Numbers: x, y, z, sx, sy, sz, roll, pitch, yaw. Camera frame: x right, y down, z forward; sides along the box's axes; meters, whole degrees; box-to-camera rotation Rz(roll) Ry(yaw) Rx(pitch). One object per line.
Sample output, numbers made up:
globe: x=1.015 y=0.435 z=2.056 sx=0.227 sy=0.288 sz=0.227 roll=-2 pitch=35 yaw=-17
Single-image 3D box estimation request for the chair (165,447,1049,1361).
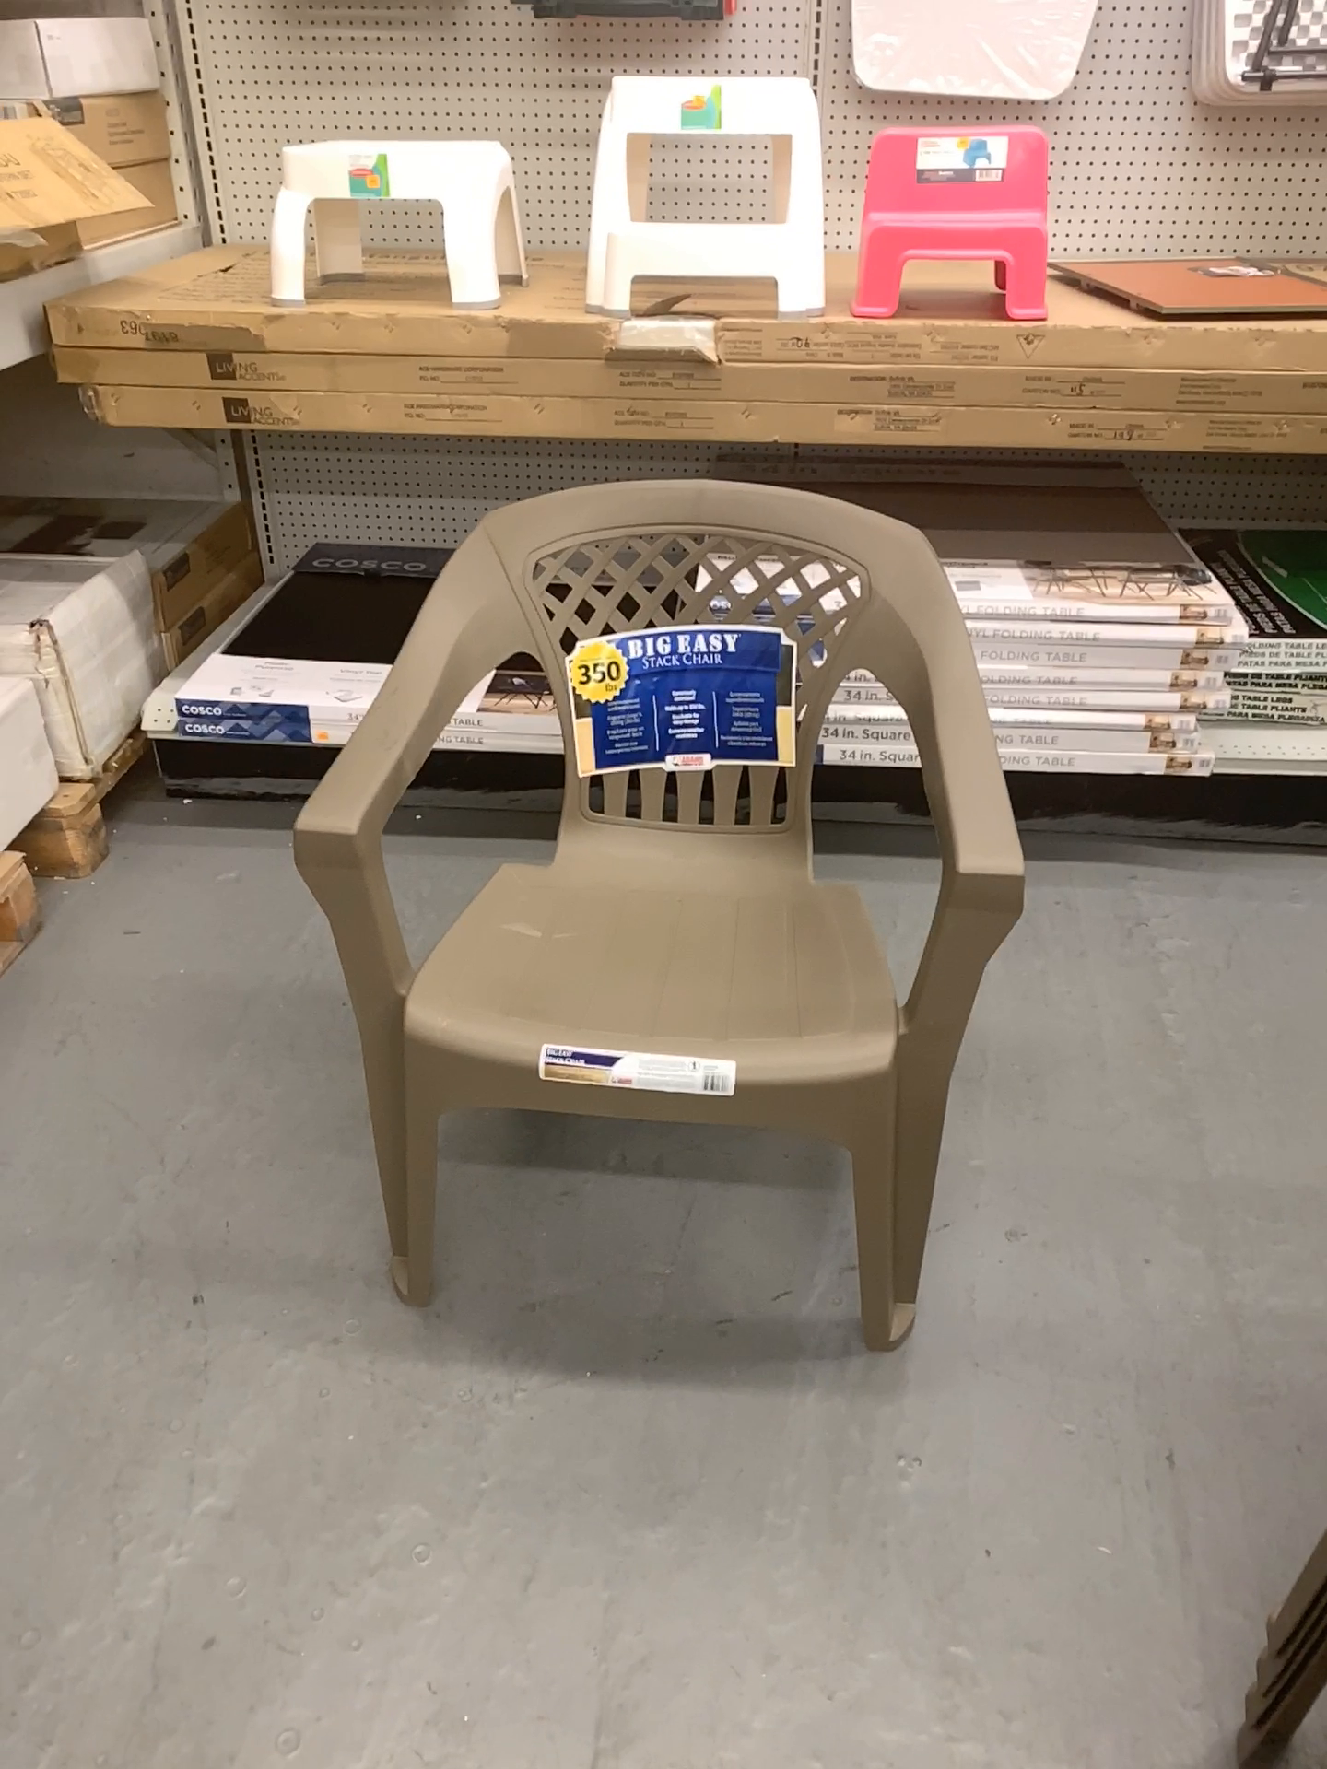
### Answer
chair: x=-0.035 y=0.002 z=1.631 sx=0.766 sy=0.878 sz=0.590 roll=3 pitch=30 yaw=5
